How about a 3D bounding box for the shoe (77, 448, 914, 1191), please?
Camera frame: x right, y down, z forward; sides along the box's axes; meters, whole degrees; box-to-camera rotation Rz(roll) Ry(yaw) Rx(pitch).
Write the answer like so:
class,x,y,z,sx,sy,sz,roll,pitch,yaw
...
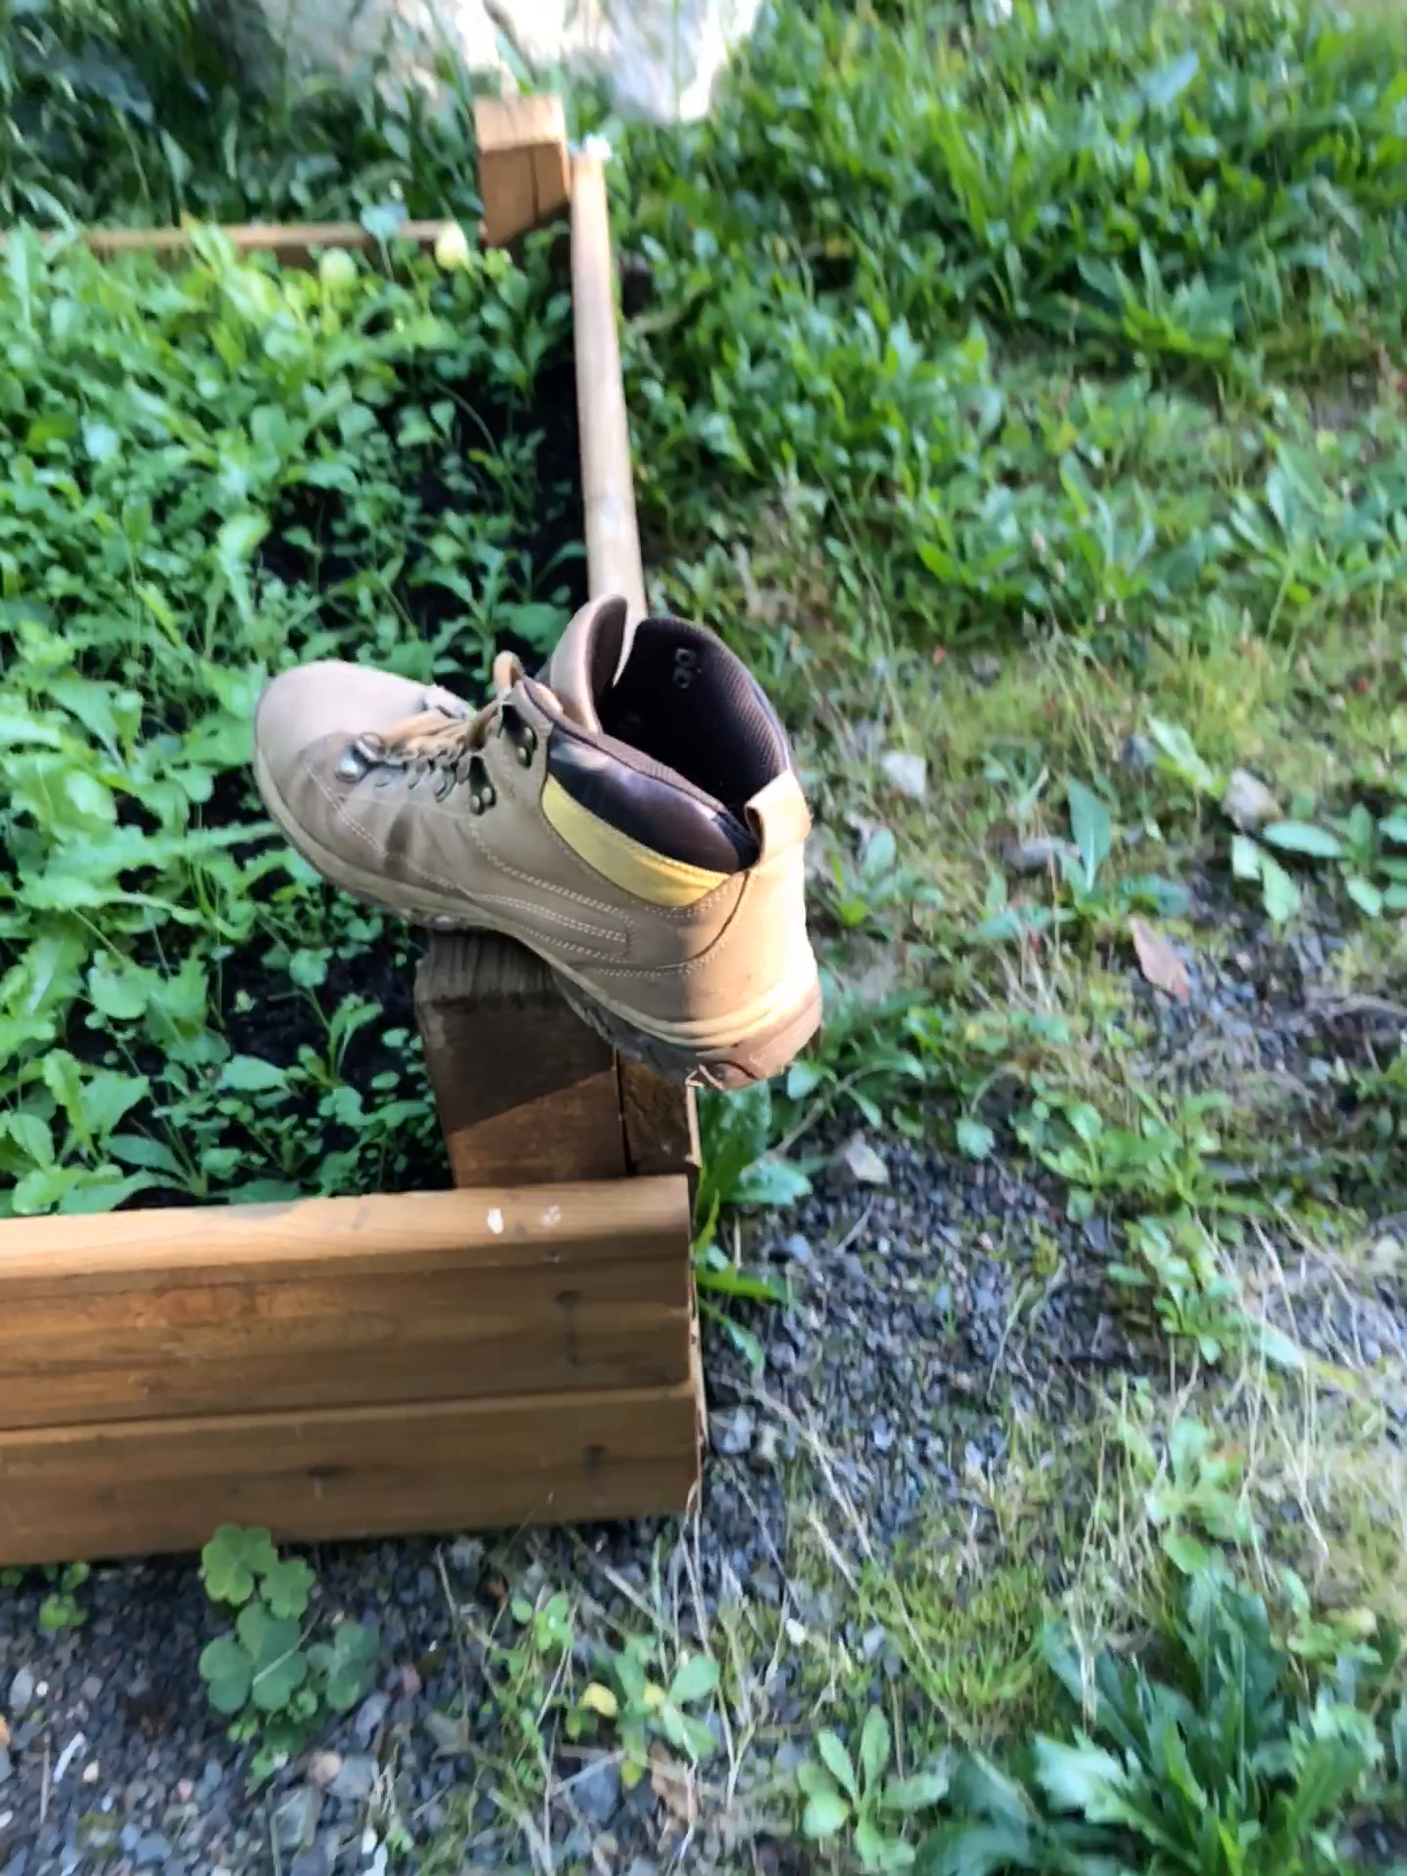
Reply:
class,x,y,z,sx,sy,sz,roll,pitch,yaw
shoe,-0.079,-0.051,0.578,0.280,0.149,0.101,27,51,21
